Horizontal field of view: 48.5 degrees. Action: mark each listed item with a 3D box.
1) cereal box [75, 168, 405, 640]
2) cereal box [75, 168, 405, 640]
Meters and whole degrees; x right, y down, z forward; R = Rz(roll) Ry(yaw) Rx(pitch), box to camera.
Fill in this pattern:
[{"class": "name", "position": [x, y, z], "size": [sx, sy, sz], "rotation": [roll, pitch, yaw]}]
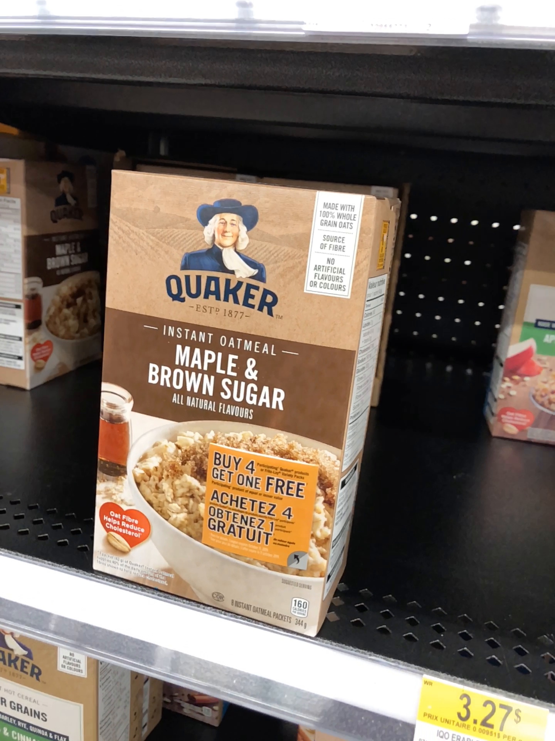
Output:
[{"class": "cereal box", "position": [-0.022, 0.009, 0.295], "size": [0.130, 0.189, 0.060], "rotation": [10, 16, 17]}, {"class": "cereal box", "position": [-0.022, 0.009, 0.295], "size": [0.130, 0.189, 0.060], "rotation": [10, 16, 17]}]
